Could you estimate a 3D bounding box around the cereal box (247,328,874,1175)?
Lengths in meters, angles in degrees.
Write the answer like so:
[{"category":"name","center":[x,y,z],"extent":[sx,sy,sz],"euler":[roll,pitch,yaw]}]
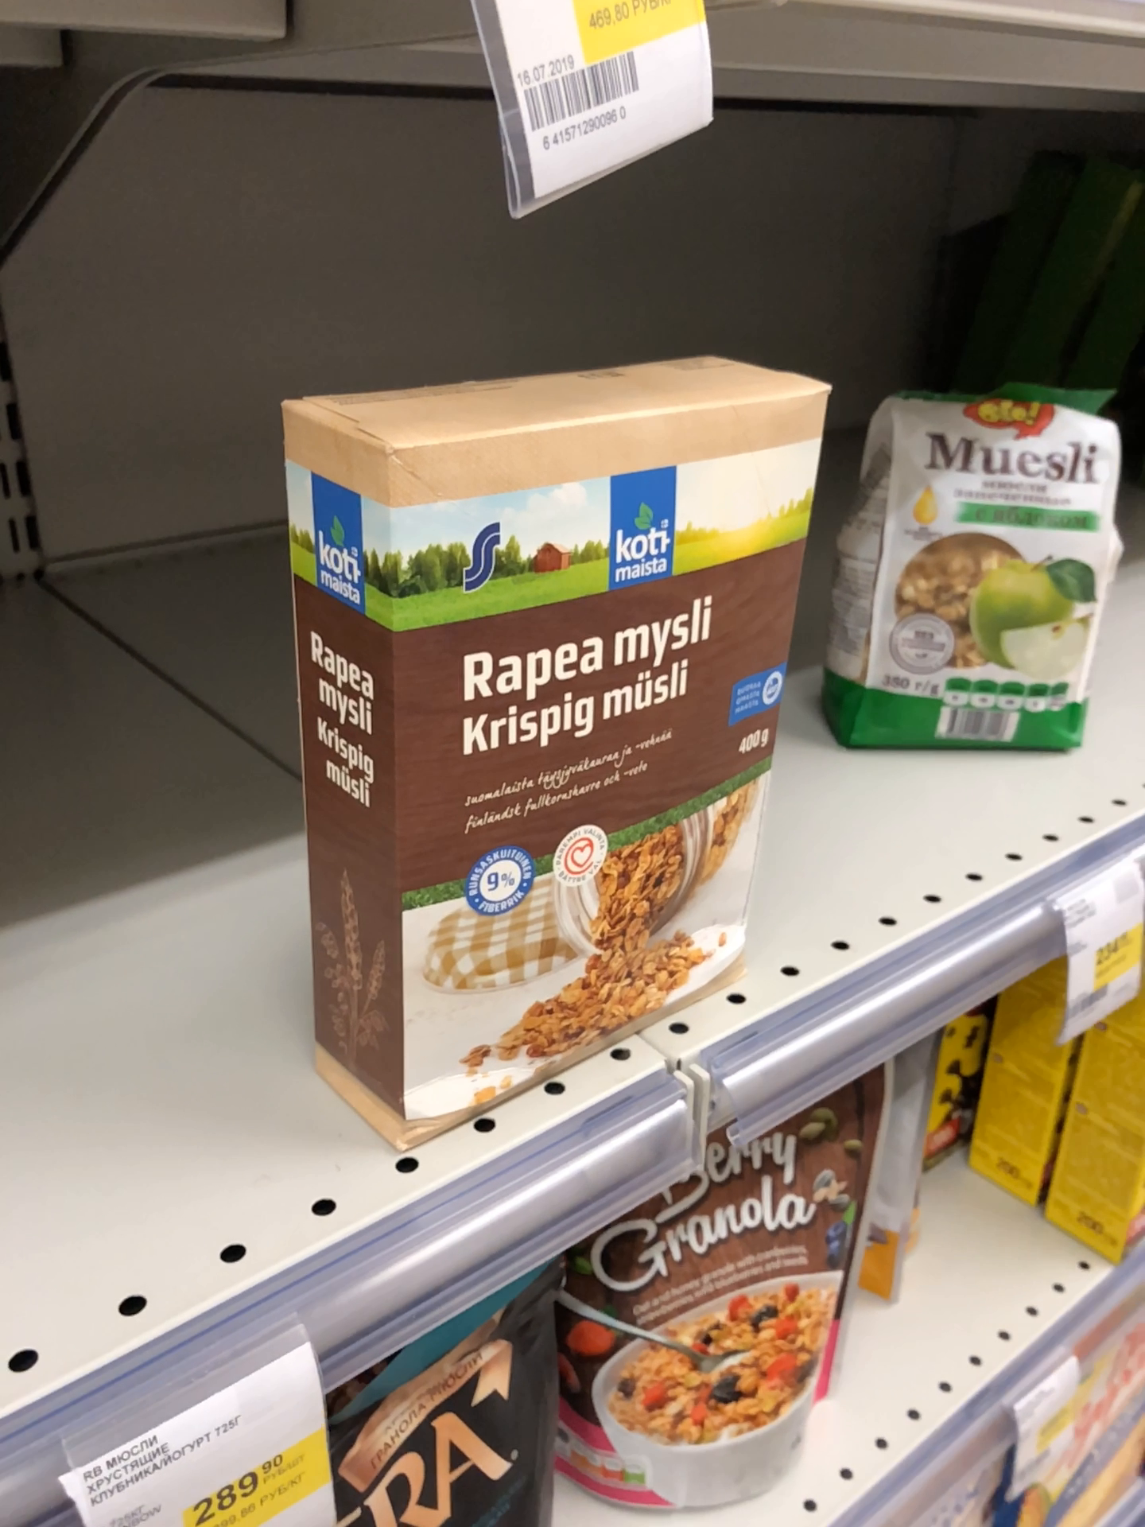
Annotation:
[{"category":"cereal box","center":[0.000,-0.009,0.342],"extent":[0.150,0.189,0.050],"euler":[-19,34,-36]}]
